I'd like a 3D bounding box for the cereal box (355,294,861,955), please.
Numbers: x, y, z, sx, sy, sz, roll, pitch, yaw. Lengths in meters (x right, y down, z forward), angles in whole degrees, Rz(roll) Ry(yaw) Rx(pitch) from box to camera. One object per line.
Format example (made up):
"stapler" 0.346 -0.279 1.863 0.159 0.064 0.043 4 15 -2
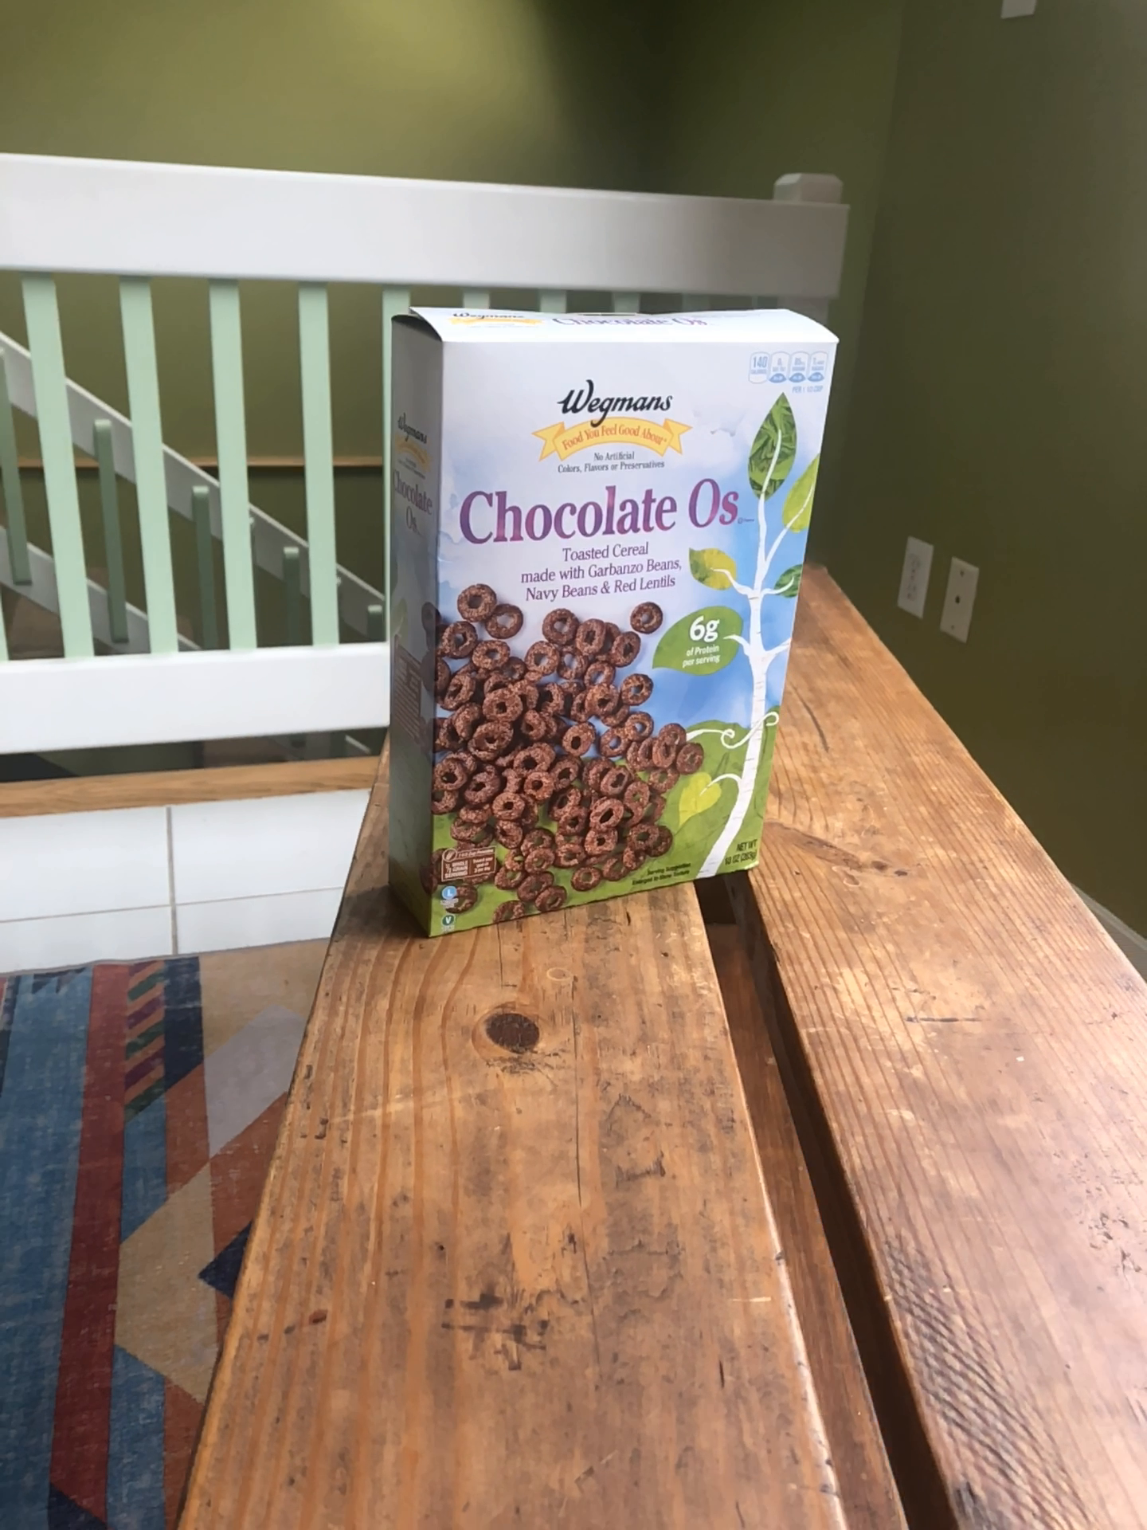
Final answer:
"cereal box" 0.010 -0.067 0.589 0.210 0.278 0.060 -9 28 -26
